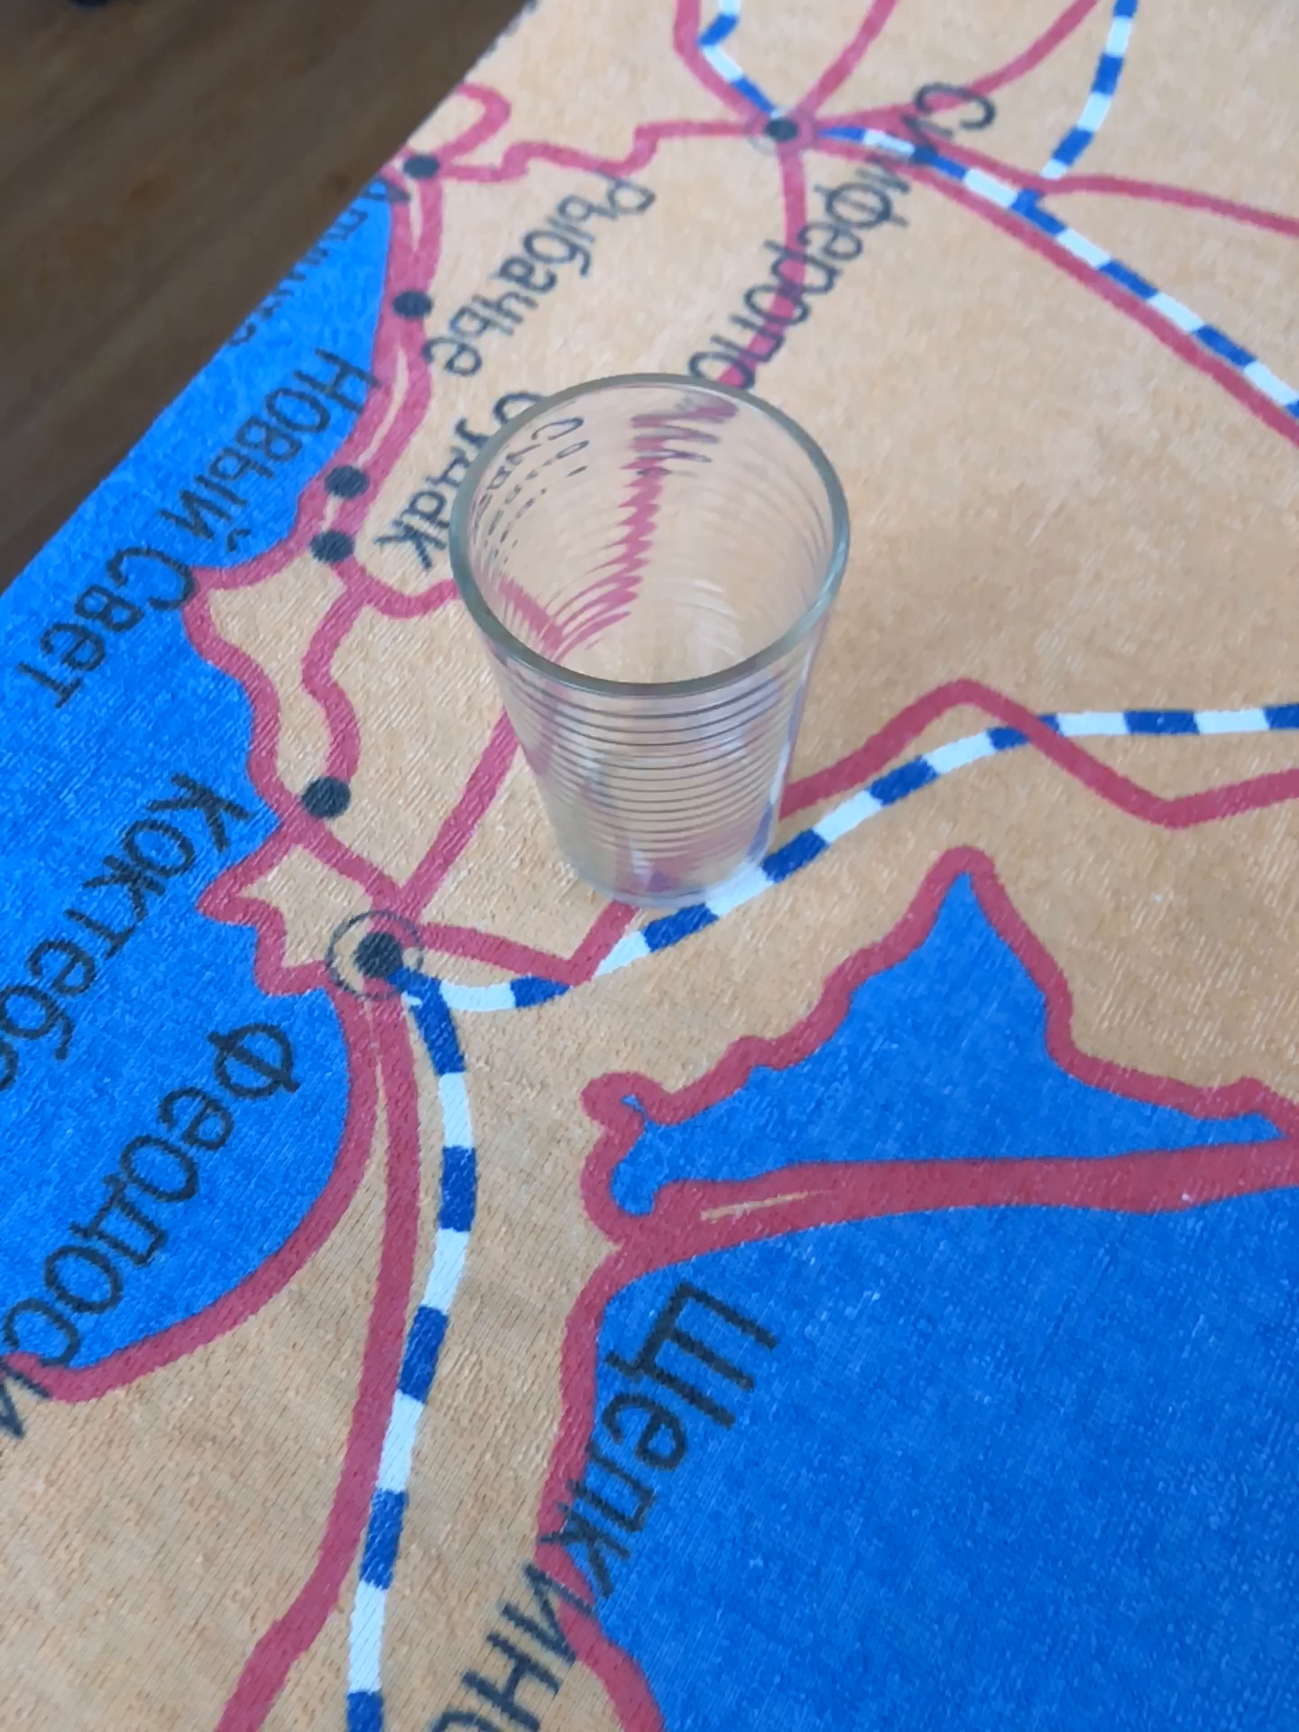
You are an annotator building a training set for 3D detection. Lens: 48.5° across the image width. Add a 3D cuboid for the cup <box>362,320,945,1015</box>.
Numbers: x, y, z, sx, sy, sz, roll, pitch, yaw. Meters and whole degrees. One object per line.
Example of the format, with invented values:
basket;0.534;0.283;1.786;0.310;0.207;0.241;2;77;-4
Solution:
cup;0.002;-0.033;0.279;0.070;0.100;0.068;0;64;1
